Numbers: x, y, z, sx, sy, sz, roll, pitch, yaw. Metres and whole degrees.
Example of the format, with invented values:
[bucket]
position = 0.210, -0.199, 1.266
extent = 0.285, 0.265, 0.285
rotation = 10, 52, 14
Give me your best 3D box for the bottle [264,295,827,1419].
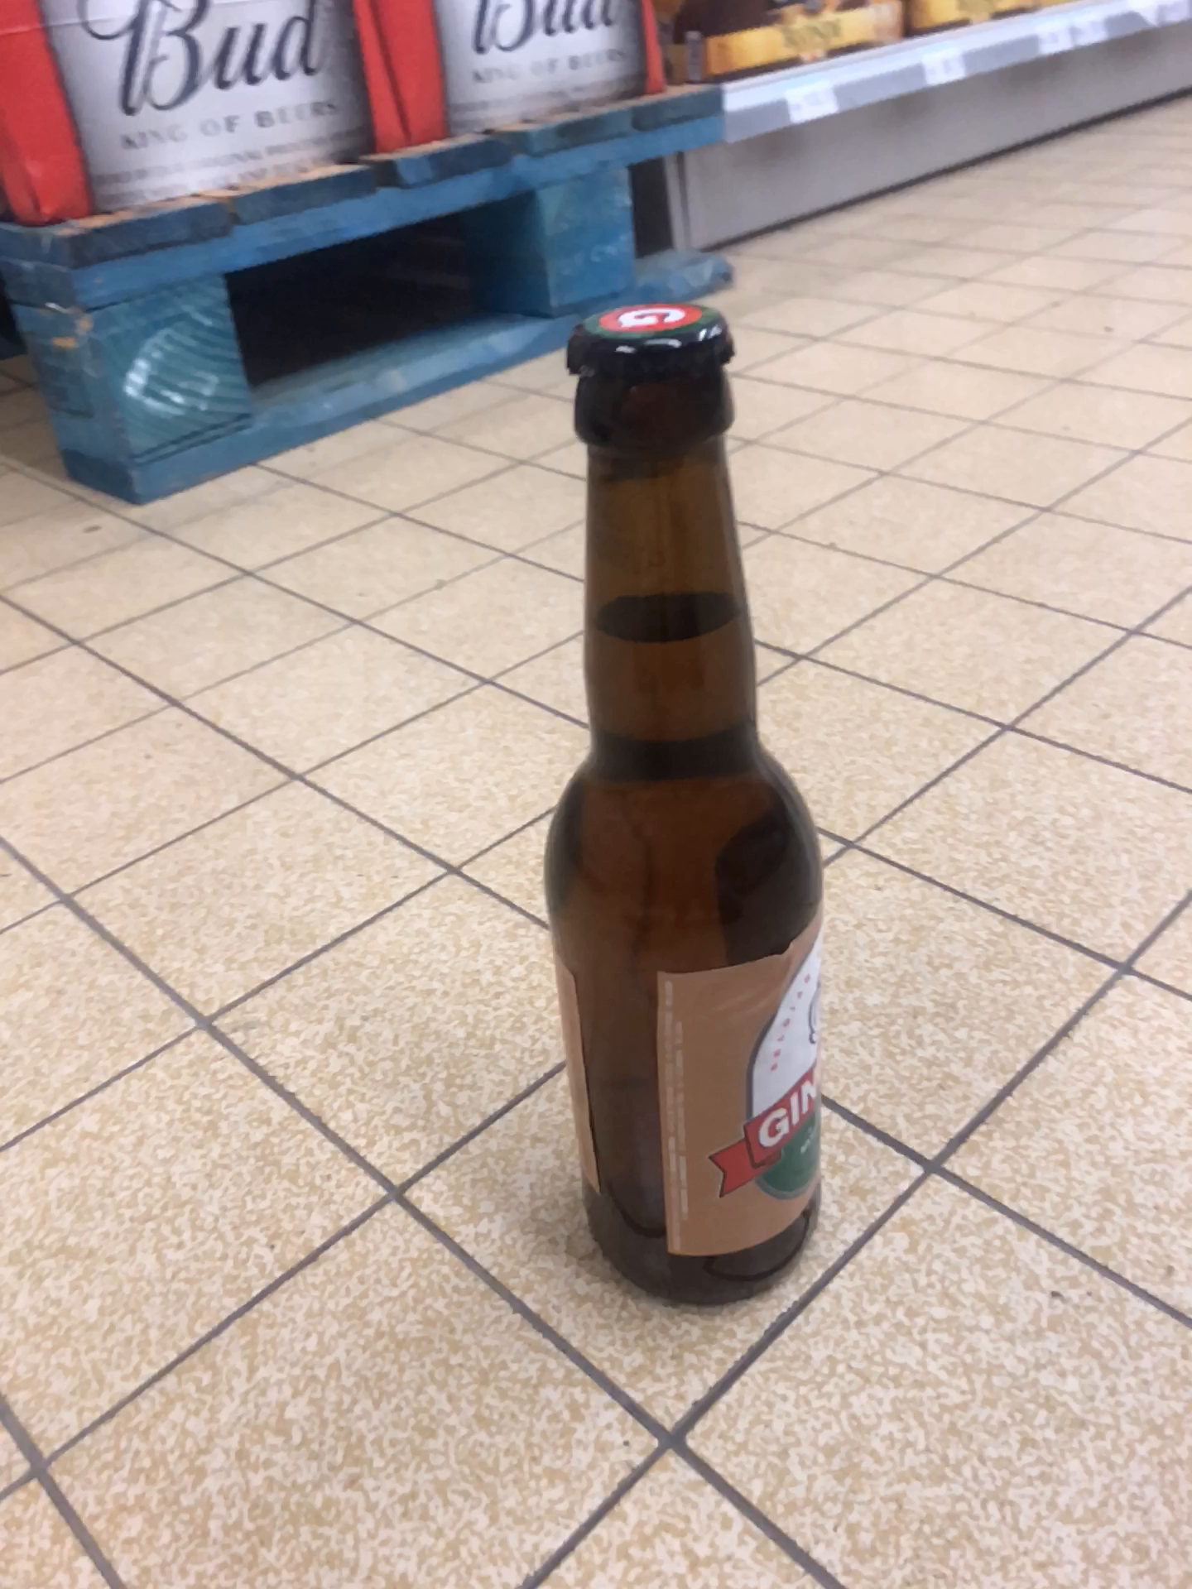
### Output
[bottle]
position = 0.006, 0.023, 0.265
extent = 0.070, 0.219, 0.070
rotation = -5, 33, 3
